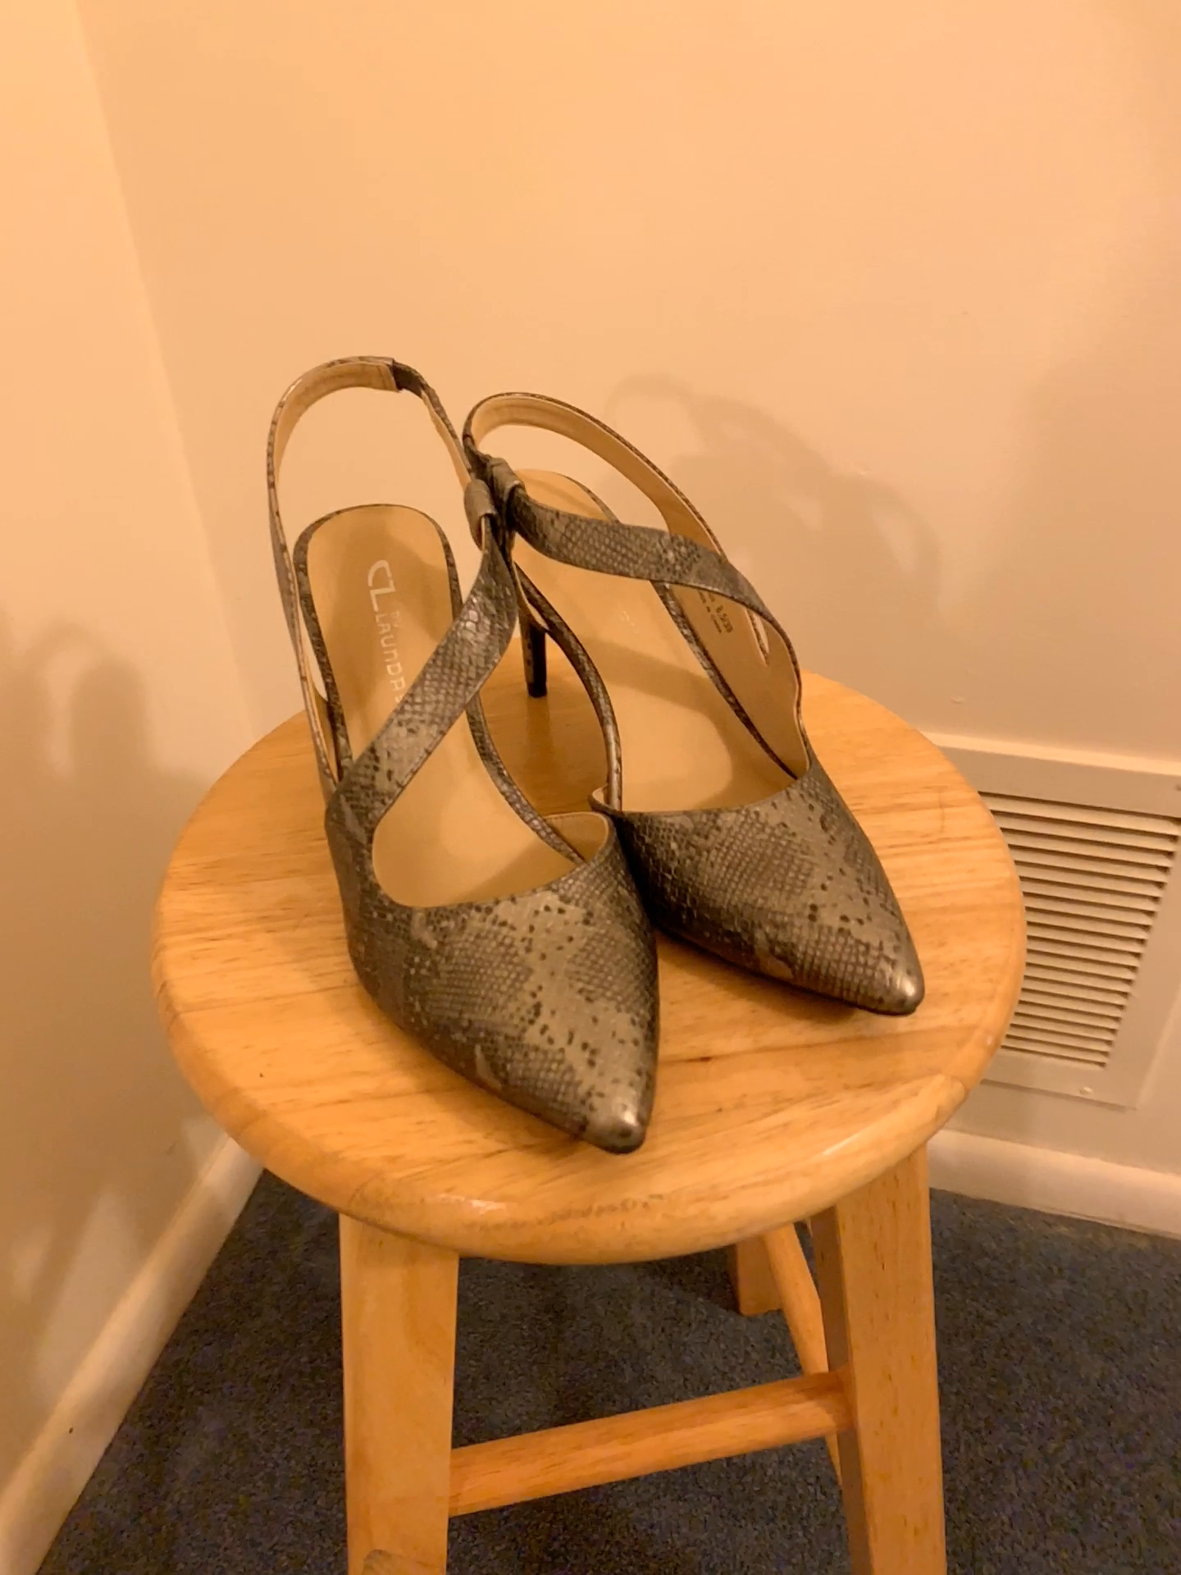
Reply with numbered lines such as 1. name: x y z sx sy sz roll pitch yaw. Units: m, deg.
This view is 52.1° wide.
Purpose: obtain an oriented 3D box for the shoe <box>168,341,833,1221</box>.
1. shoe: -0.047 -0.030 0.374 0.100 0.124 0.271 -16 39 -17

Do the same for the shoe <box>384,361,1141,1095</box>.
1. shoe: 0.031 -0.043 0.395 0.102 0.106 0.251 -19 40 -21
